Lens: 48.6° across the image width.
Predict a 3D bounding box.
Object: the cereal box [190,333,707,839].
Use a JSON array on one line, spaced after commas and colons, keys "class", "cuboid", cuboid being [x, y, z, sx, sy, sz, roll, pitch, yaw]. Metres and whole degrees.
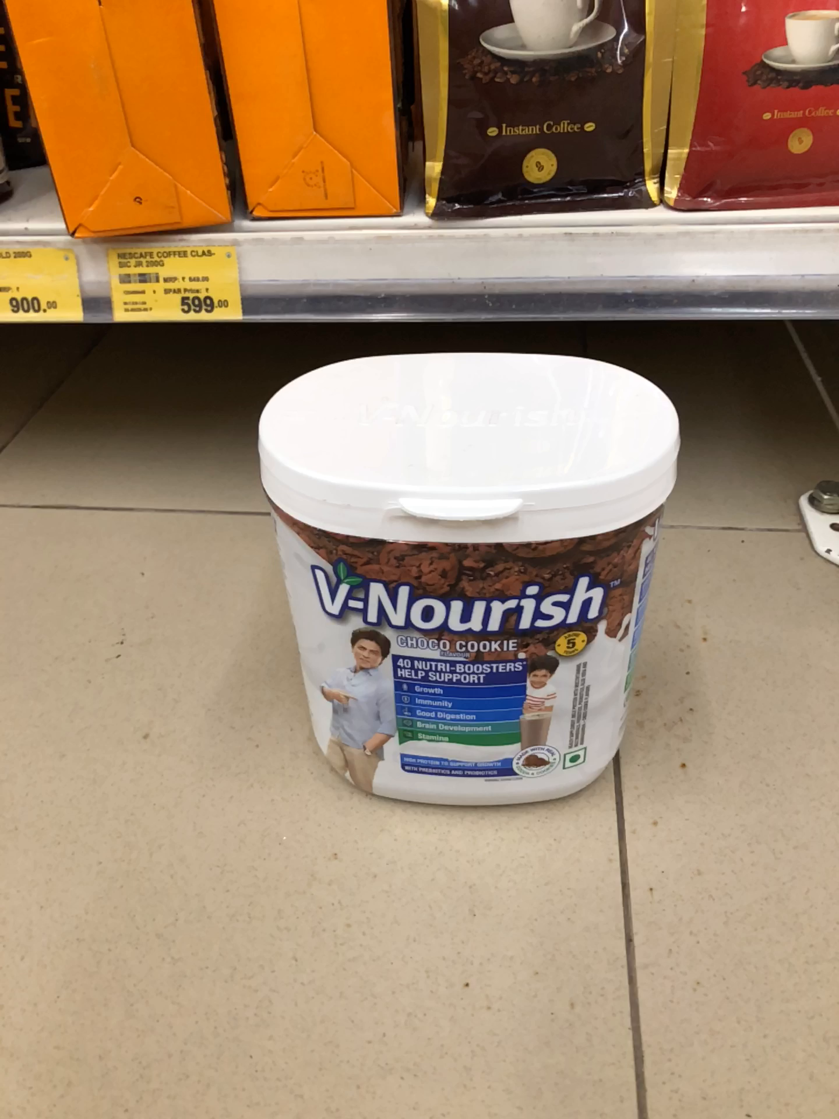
[{"class": "cereal box", "cuboid": [0.014, 0.009, 0.336, 0.140, 0.149, 0.101, 1, 38, 6]}]
